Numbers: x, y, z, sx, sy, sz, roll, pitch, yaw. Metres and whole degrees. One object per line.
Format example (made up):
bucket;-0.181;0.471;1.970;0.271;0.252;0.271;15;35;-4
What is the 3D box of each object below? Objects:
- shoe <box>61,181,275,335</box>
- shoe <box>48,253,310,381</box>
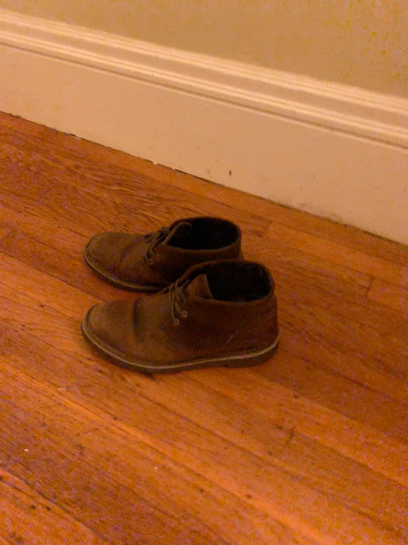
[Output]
shoe;-0.053;-0.028;0.655;0.290;0.119;0.120;17;49;13
shoe;-0.029;0.061;0.563;0.300;0.119;0.121;1;48;-1
